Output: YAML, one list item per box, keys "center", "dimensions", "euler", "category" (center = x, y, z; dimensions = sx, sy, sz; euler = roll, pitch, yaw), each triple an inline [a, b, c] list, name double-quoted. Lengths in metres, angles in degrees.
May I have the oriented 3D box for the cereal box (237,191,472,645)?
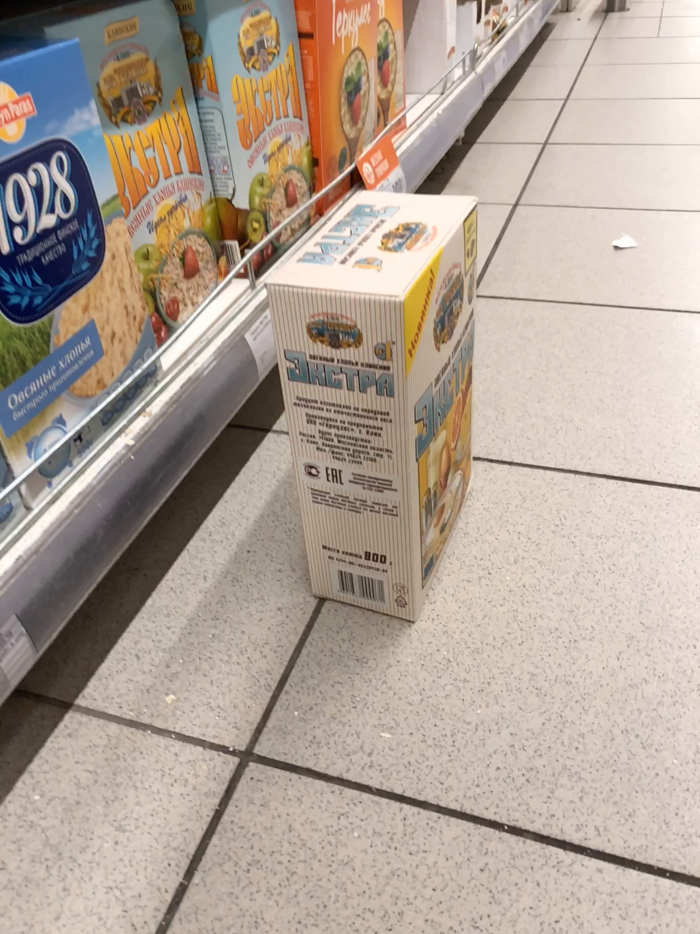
- center: [0.019, -0.030, 0.496]
  dimensions: [0.080, 0.239, 0.151]
  euler: [10, 40, 20]
  category: "cereal box"
